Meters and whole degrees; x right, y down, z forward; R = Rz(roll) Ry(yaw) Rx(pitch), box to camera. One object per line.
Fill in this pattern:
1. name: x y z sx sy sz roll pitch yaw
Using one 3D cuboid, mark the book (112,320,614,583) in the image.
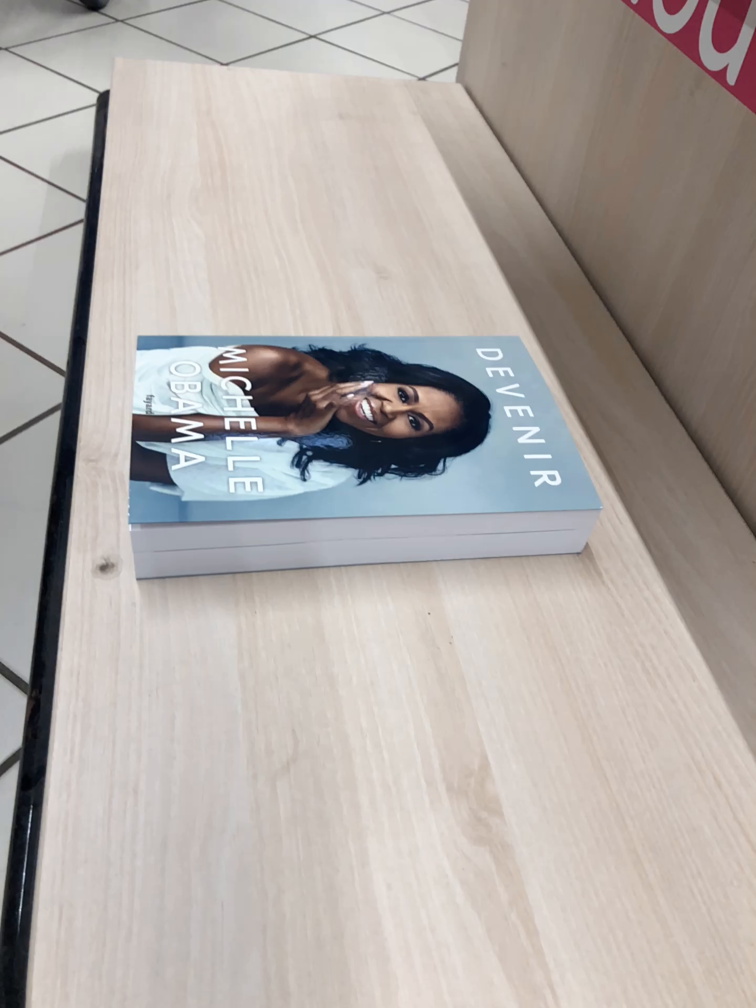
1. book: -0.015 -0.040 0.462 0.240 0.040 0.164 -3 46 -11
